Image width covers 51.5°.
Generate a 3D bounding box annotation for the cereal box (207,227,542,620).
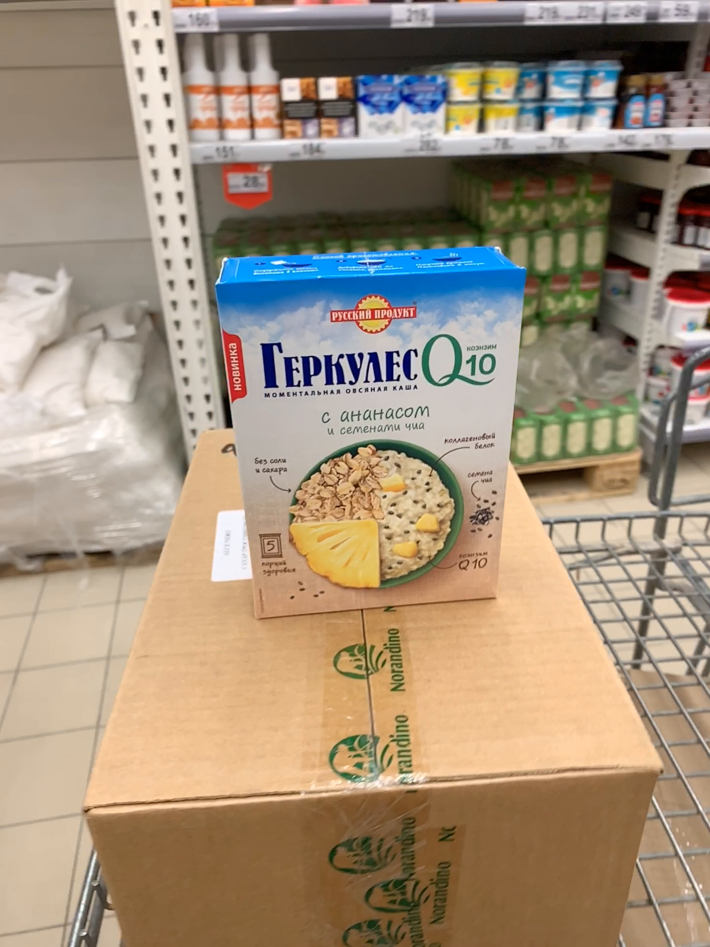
[{"bbox_3d":[0.010,-0.021,0.397,0.150,0.199,0.050,-4,30,-5],"label":"cereal box"}]
